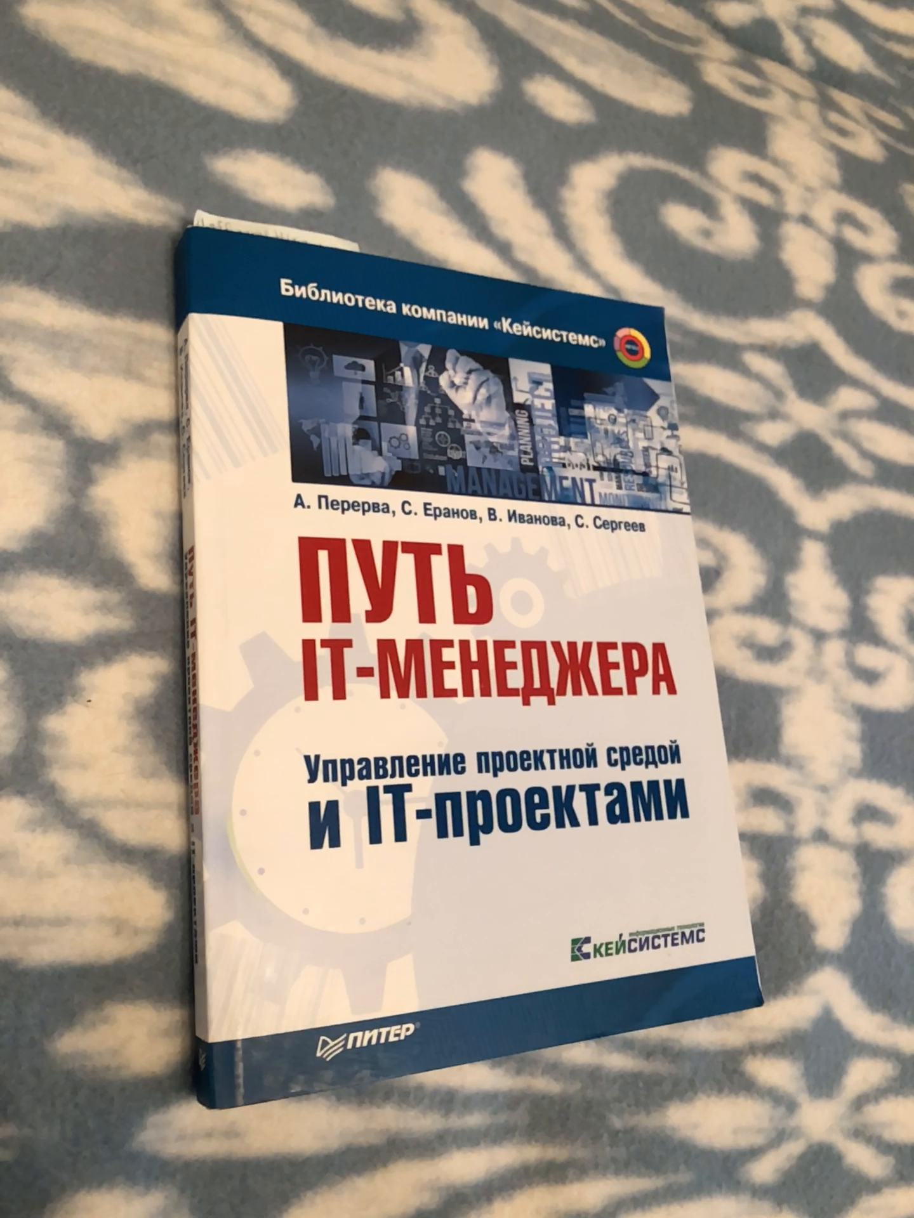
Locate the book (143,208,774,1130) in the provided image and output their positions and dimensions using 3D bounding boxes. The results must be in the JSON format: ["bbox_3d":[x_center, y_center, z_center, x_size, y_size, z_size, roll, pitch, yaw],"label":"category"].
[{"bbox_3d":[0.002,0.007,0.293,0.173,0.019,0.228,1,76,-25],"label":"book"}]
